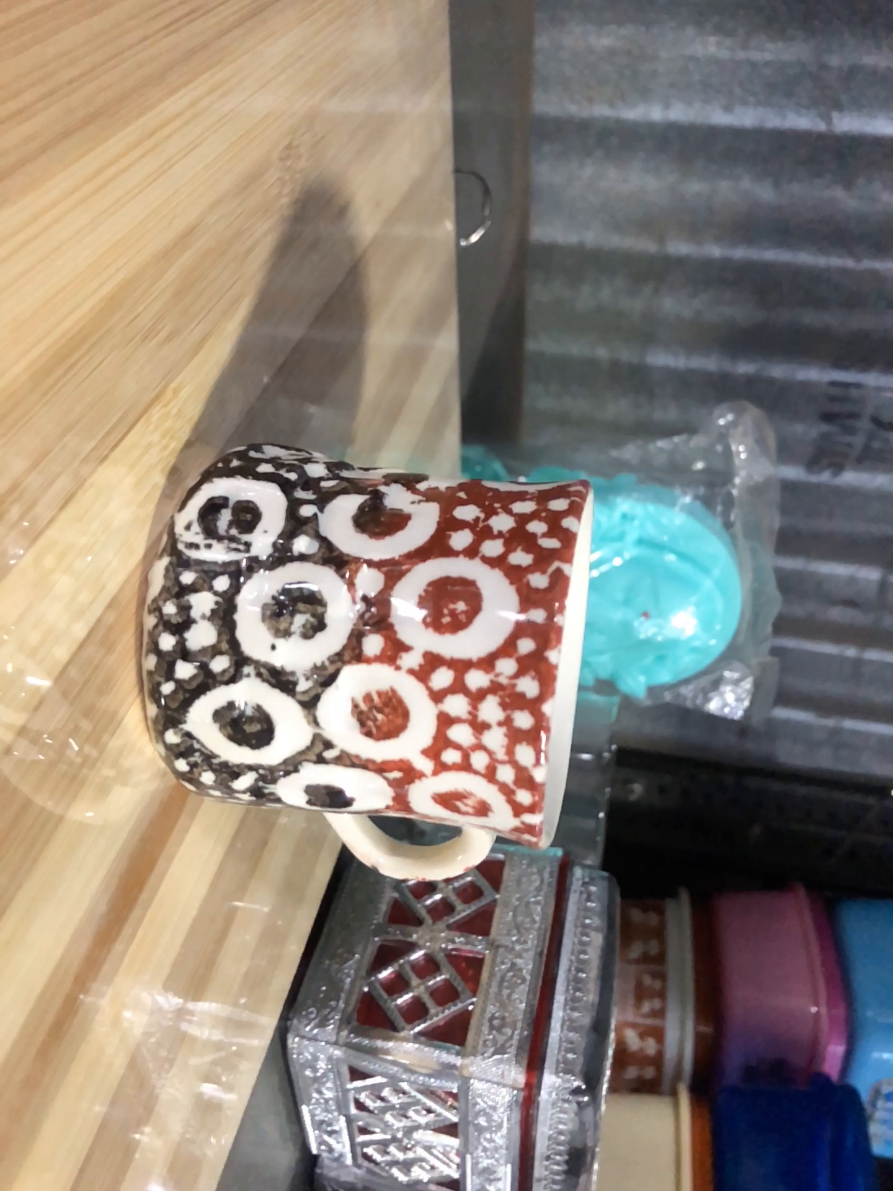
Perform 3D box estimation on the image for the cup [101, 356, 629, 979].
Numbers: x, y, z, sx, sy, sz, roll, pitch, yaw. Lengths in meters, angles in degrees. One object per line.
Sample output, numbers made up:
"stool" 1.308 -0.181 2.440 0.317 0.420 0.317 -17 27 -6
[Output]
"cup" -0.008 0.013 0.186 0.060 0.070 0.090 -71 165 -52
